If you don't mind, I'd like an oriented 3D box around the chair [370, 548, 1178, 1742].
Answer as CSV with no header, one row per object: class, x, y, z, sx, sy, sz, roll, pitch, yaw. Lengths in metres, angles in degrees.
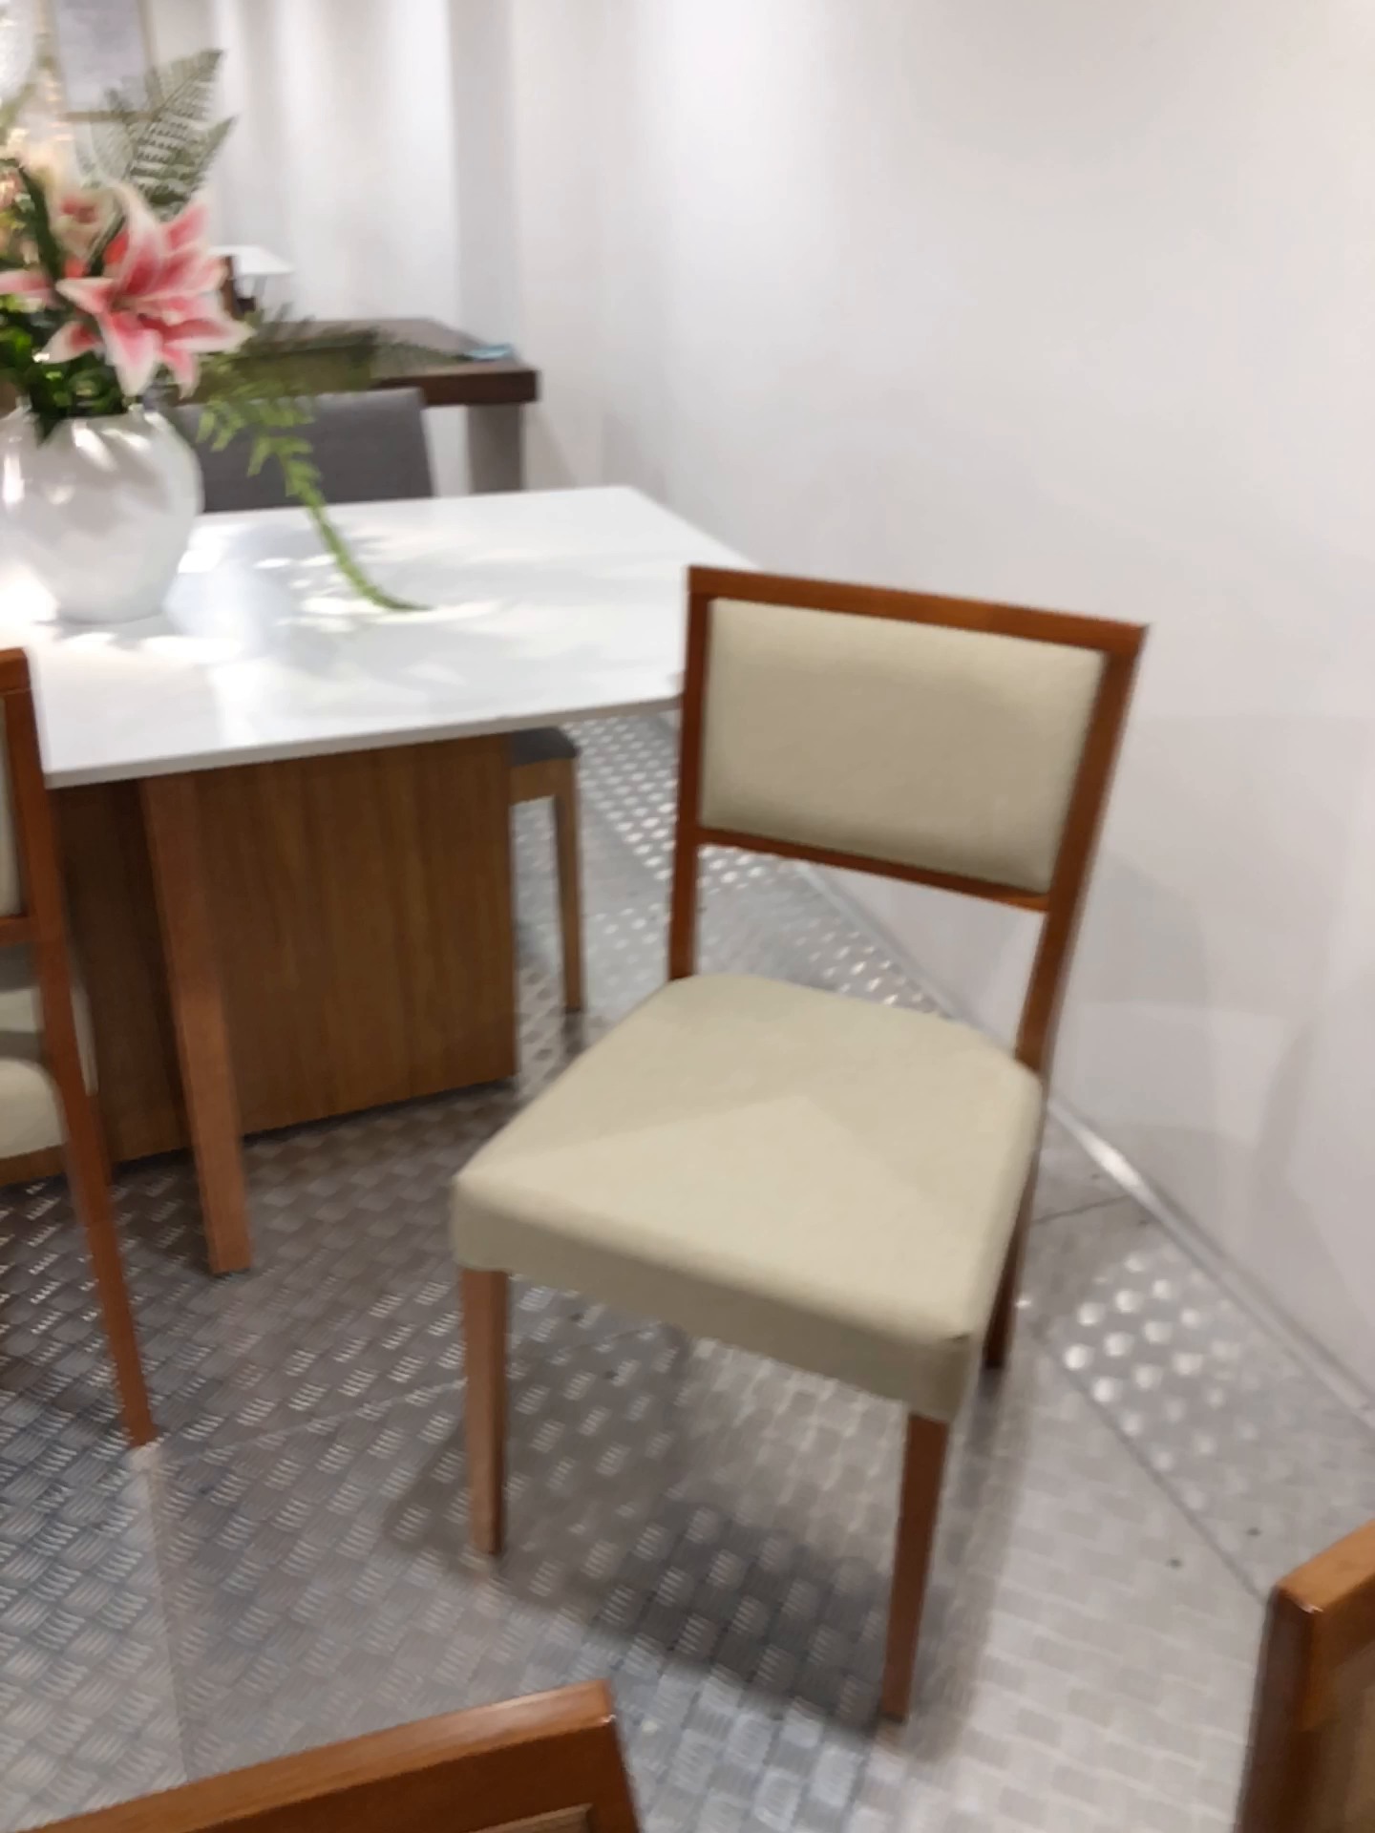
chair,0.109,0.177,1.536,0.521,0.893,0.624,13,30,20
